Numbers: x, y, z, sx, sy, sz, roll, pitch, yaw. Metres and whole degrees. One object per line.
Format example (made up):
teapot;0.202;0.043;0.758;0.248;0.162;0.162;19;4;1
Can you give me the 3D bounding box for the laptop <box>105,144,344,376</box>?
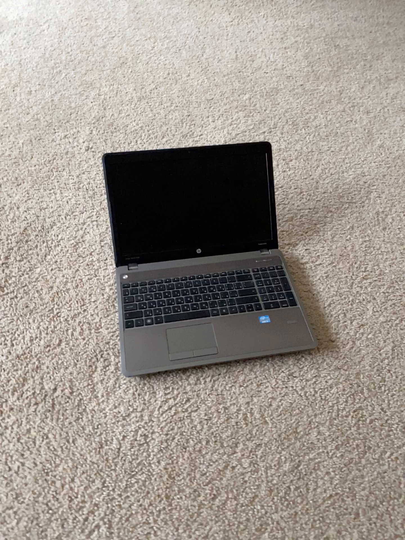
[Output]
laptop;0.007;-0.048;0.842;0.374;0.162;0.437;-6;52;-8
